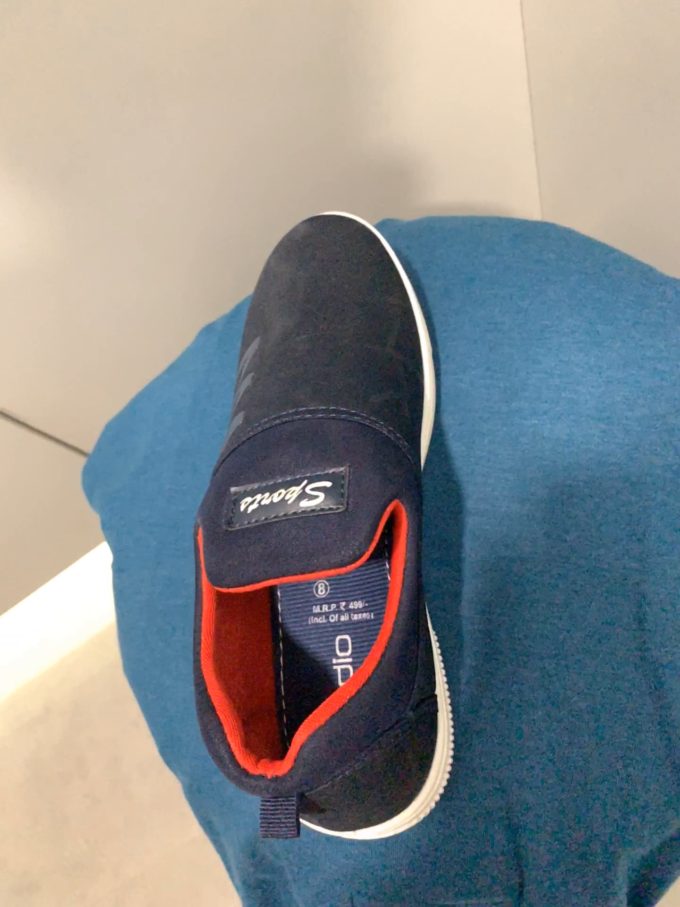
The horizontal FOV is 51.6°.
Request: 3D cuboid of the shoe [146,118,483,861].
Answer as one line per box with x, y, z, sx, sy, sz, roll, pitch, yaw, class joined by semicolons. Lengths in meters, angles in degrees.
-0.010;0.011;0.293;0.090;0.100;0.260;-10;69;16;shoe
